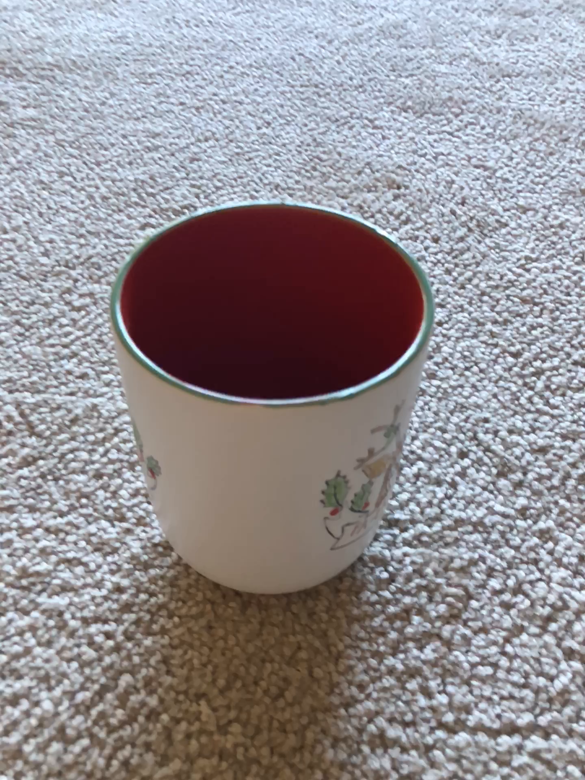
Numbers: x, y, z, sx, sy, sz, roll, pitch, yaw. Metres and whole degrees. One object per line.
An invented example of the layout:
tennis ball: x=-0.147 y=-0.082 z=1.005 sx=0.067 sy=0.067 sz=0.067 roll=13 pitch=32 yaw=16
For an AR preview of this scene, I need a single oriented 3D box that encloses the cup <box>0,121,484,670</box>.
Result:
cup: x=-0.004 y=-0.007 z=0.215 sx=0.100 sy=0.090 sz=0.141 roll=13 pitch=49 yaw=10
